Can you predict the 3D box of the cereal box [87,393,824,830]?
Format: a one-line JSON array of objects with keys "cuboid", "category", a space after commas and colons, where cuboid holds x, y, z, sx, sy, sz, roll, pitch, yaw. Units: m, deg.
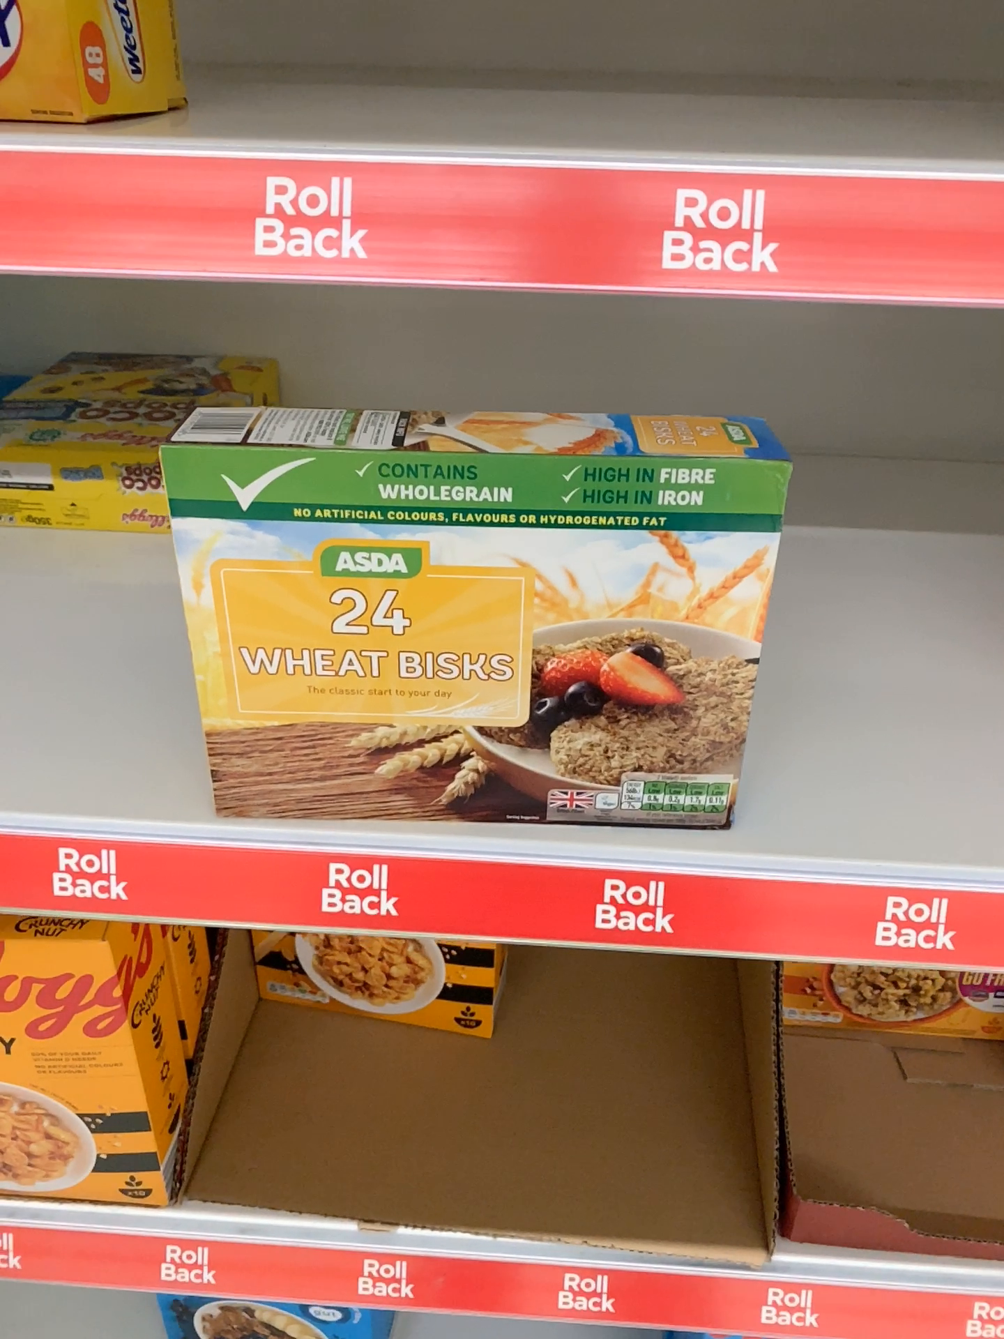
[{"cuboid": [-0.018, -0.020, 0.451, 0.270, 0.178, 0.061, 1, 32, -1], "category": "cereal box"}]
